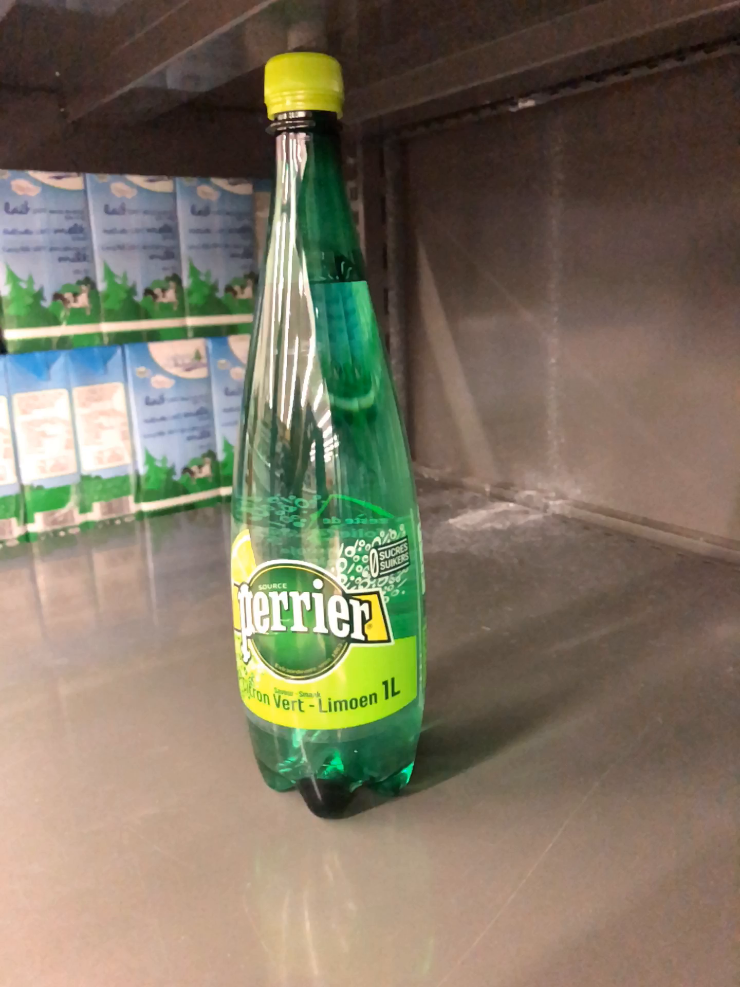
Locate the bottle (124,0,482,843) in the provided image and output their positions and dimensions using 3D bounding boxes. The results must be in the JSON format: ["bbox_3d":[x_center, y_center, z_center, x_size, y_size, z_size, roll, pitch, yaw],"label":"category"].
[{"bbox_3d":[-0.017,-0.024,0.346,0.100,0.299,0.090,5,16,28],"label":"bottle"}]
